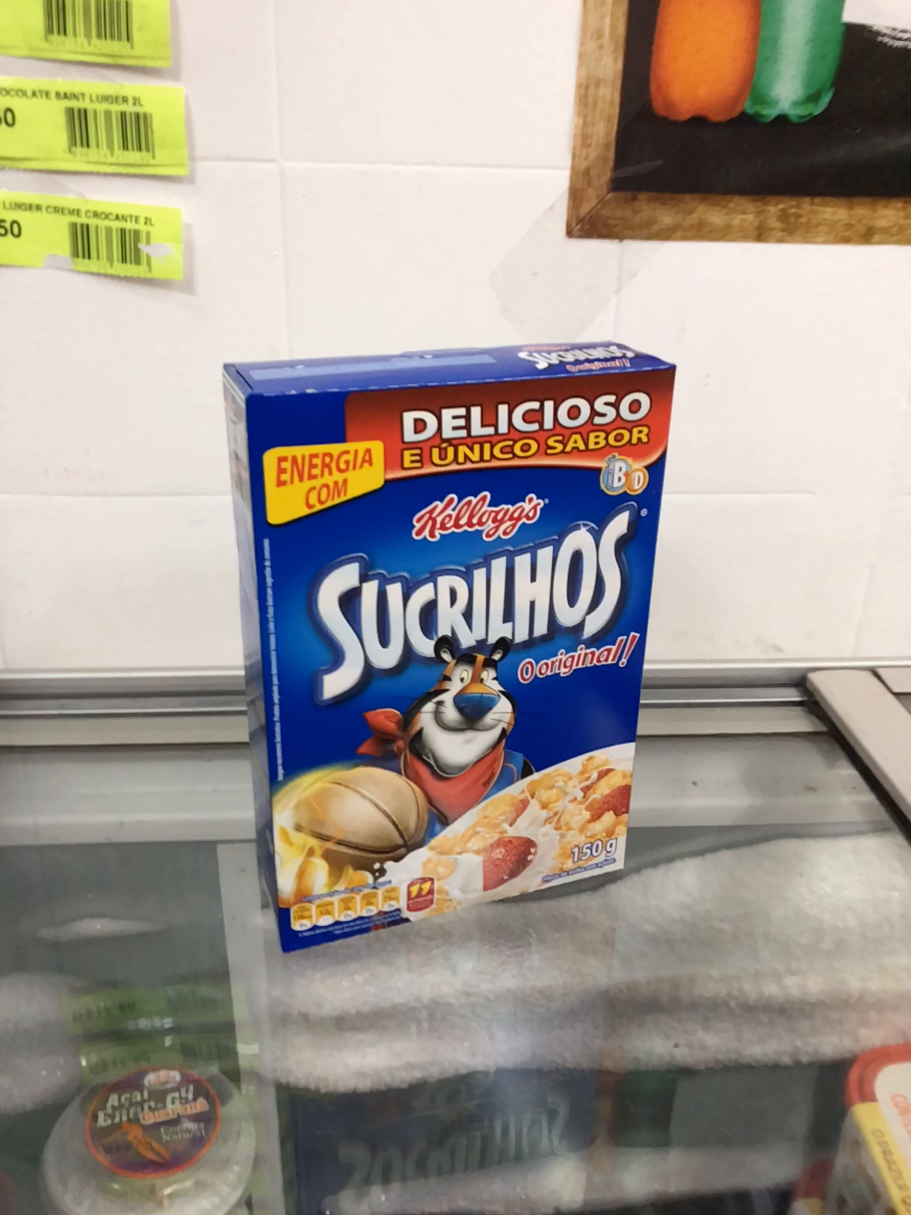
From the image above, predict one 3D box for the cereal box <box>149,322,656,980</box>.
[{"bbox_3d":[-0.018,0.013,0.339,0.140,0.199,0.050,-8,27,-21],"label":"cereal box"}]
